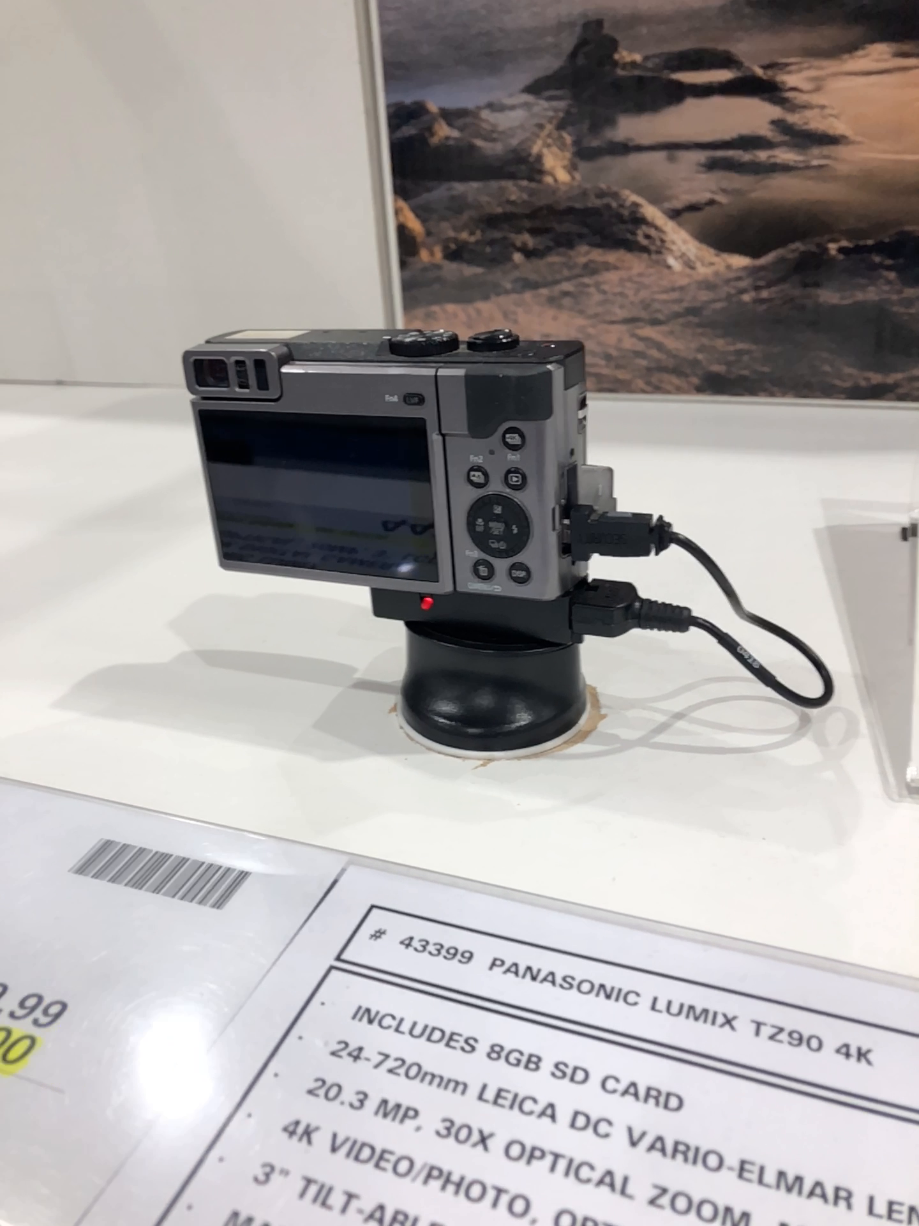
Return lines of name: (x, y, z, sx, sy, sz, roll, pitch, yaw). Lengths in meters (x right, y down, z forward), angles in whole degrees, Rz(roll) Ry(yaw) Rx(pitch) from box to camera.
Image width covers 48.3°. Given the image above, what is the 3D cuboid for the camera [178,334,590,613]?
camera: (-0.020, -0.042, 0.284, 0.107, 0.065, 0.030, 7, 26, 23)
